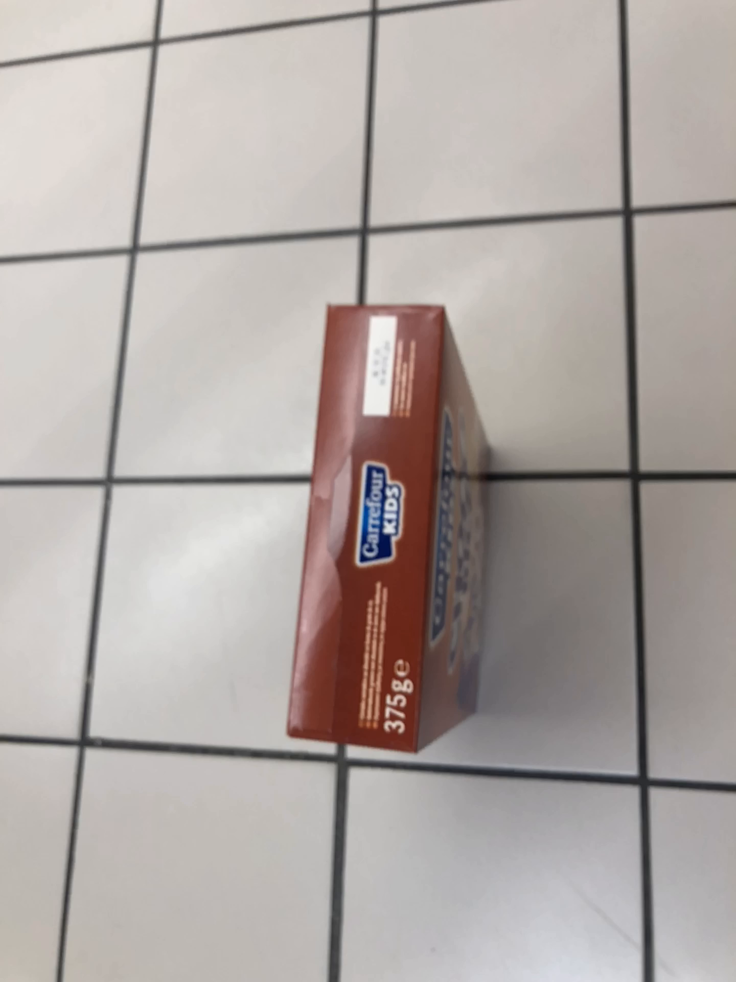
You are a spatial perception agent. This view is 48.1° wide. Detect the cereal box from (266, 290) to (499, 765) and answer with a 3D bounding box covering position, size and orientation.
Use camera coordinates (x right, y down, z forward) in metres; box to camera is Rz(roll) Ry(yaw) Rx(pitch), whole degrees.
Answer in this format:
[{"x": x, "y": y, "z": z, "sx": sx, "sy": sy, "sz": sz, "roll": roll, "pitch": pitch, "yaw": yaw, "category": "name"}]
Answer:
[{"x": 0.026, "y": 0.032, "z": 0.467, "sx": 0.070, "sy": 0.240, "sz": 0.200, "roll": 2, "pitch": 79, "yaw": 13, "category": "cereal box"}]
